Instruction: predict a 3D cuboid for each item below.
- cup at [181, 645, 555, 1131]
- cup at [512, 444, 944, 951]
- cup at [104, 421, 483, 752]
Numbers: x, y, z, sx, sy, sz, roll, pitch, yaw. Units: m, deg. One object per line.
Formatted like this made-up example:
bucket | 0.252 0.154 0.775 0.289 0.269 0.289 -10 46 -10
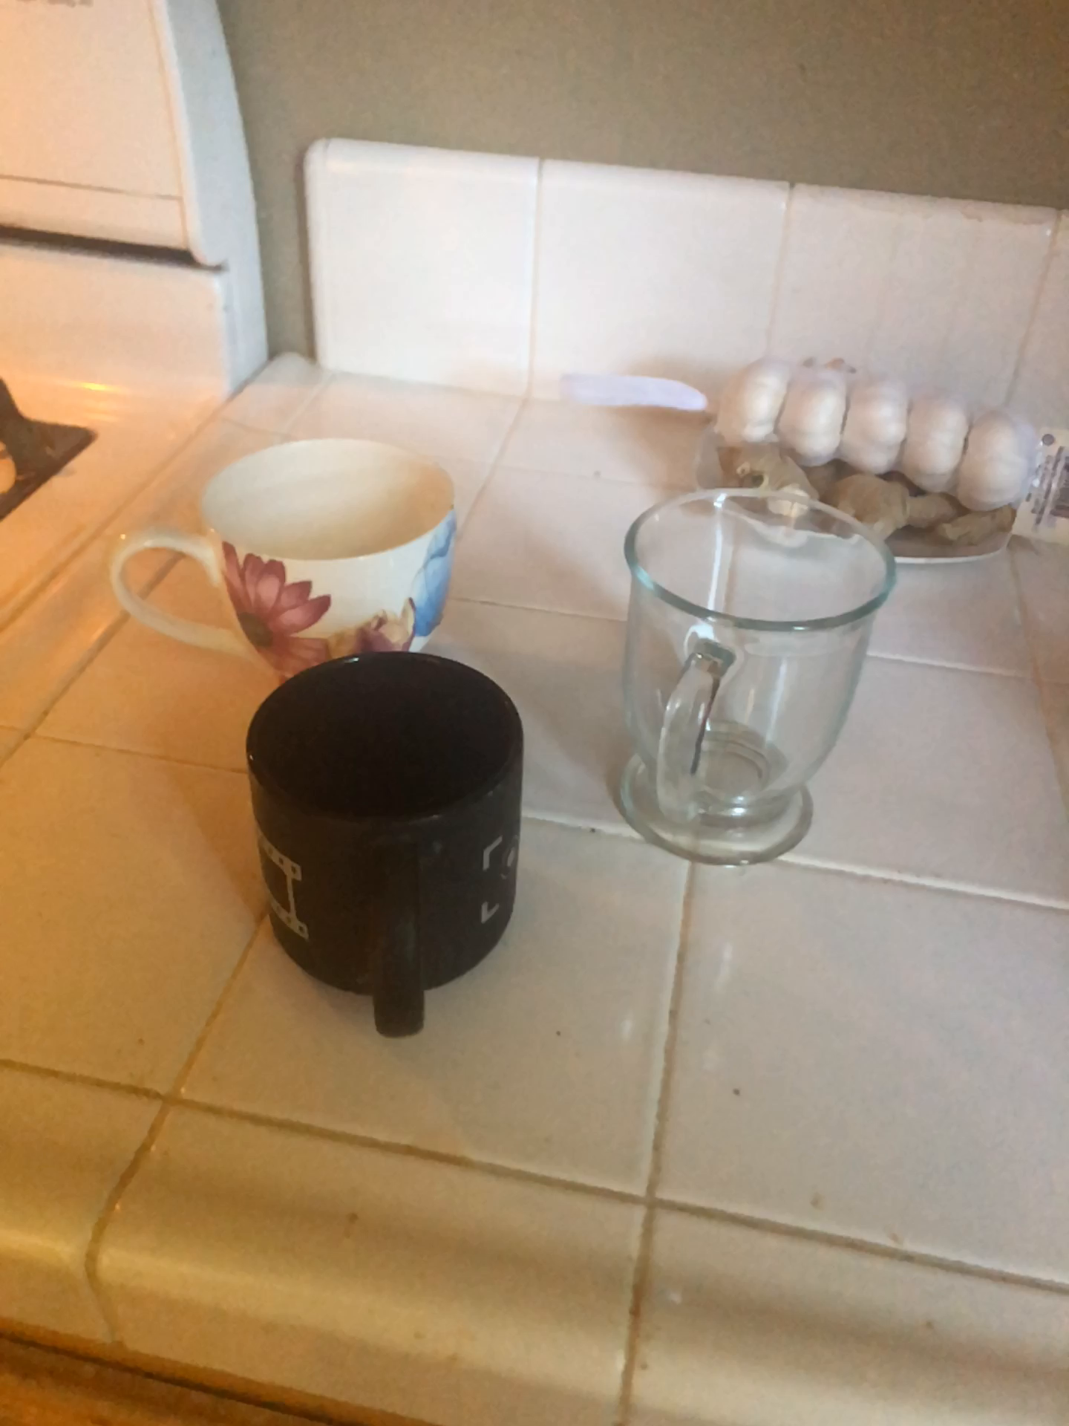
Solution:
cup | -0.046 0.054 0.396 0.100 0.089 0.131 3 39 -1
cup | 0.070 -0.011 0.446 0.100 0.119 0.121 26 44 25
cup | -0.105 -0.060 0.515 0.140 0.079 0.111 -9 41 -15
